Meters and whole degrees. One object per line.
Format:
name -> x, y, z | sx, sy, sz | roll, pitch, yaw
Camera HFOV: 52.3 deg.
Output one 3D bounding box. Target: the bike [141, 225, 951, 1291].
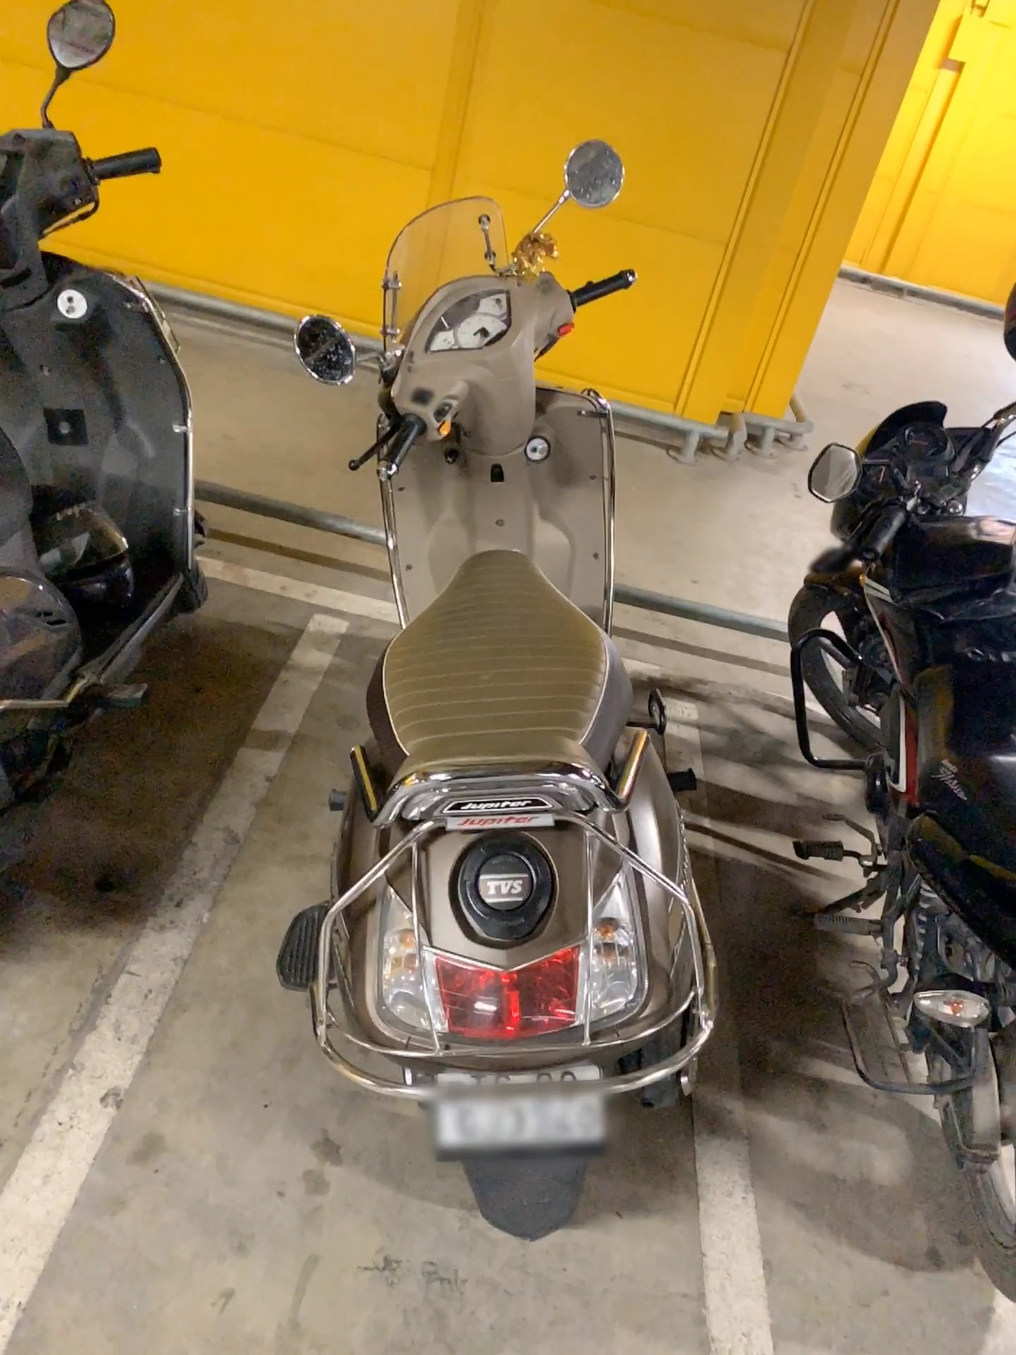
bike -> -0.140, -0.039, 1.726 | 0.603, 1.027, 1.562 | 7, 30, -12
